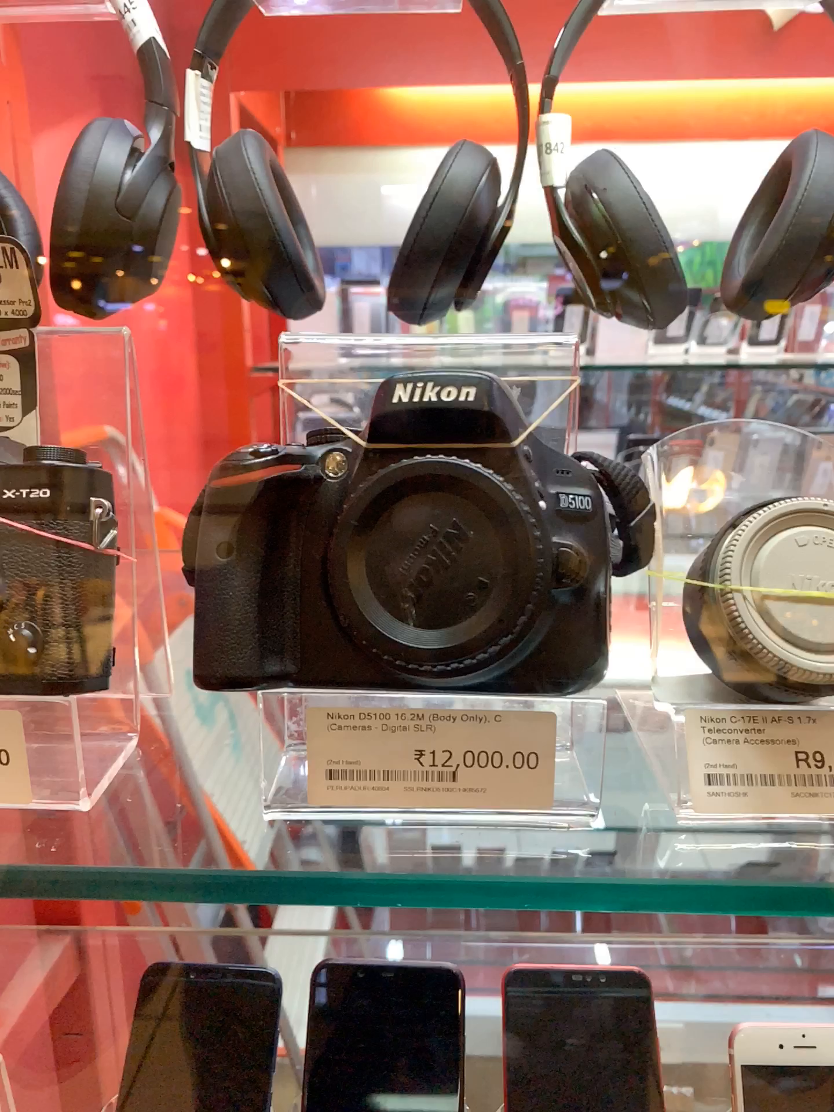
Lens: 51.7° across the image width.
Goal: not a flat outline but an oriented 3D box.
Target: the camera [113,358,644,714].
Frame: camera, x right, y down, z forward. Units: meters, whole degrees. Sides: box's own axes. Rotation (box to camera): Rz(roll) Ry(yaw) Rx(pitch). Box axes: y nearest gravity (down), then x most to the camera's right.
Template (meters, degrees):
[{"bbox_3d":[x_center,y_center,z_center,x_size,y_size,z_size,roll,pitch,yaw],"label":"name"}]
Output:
[{"bbox_3d":[-0.009,-0.011,0.255,0.130,0.090,0.070,1,14,3],"label":"camera"}]
